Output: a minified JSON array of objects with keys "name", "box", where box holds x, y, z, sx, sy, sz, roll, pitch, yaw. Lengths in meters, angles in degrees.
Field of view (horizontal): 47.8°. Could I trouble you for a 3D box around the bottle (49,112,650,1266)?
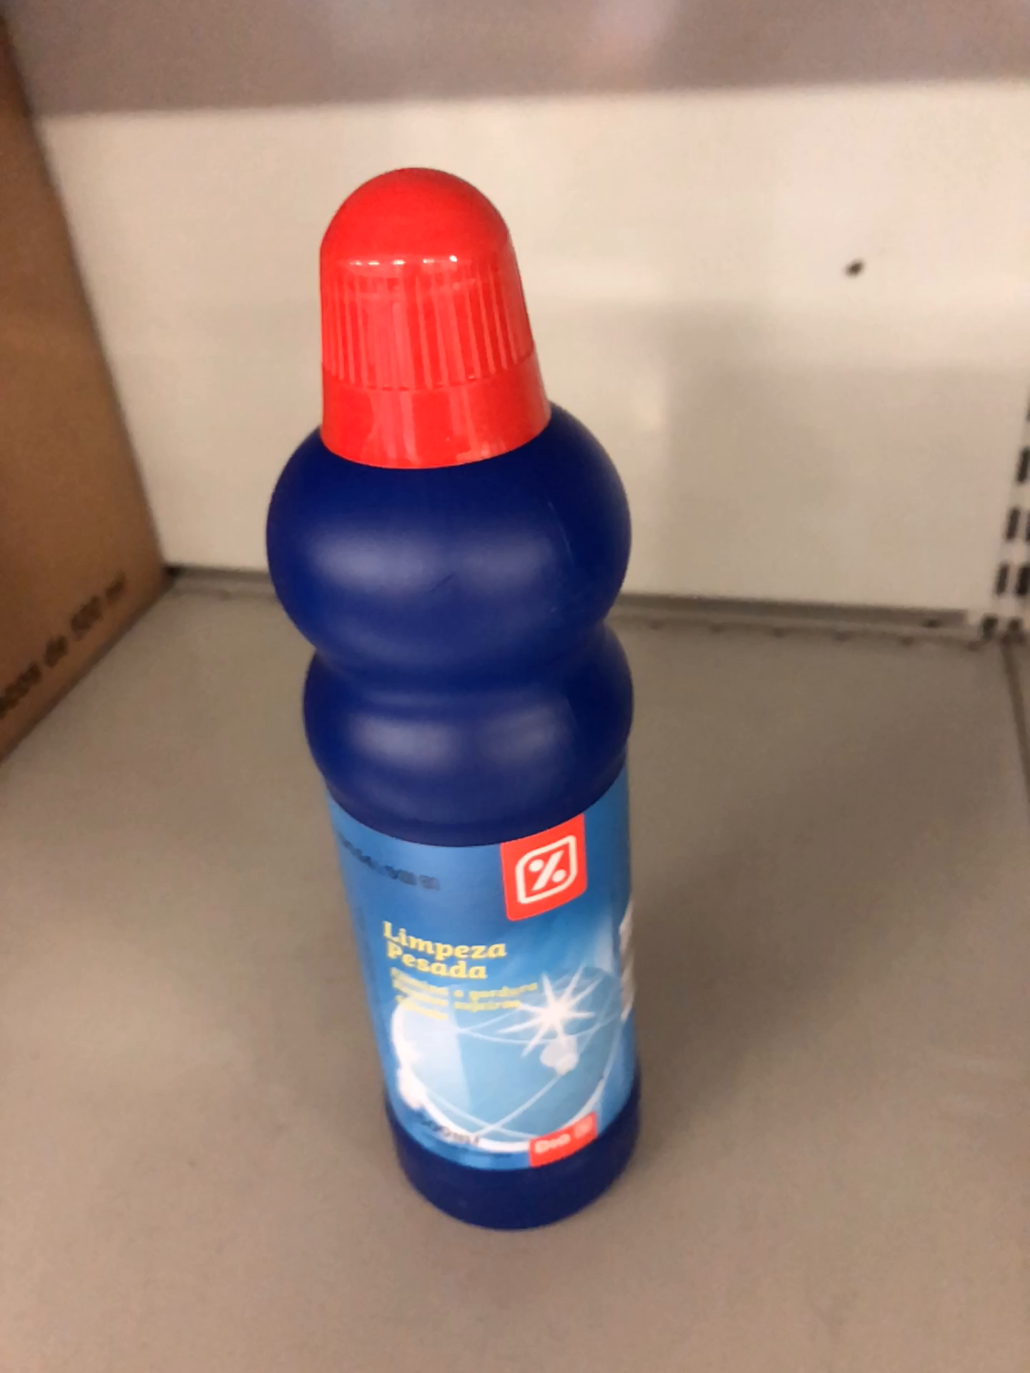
[{"name":"bottle","box":[-0.010,0.021,0.241,0.070,0.238,0.071,-4,36,3]}]
